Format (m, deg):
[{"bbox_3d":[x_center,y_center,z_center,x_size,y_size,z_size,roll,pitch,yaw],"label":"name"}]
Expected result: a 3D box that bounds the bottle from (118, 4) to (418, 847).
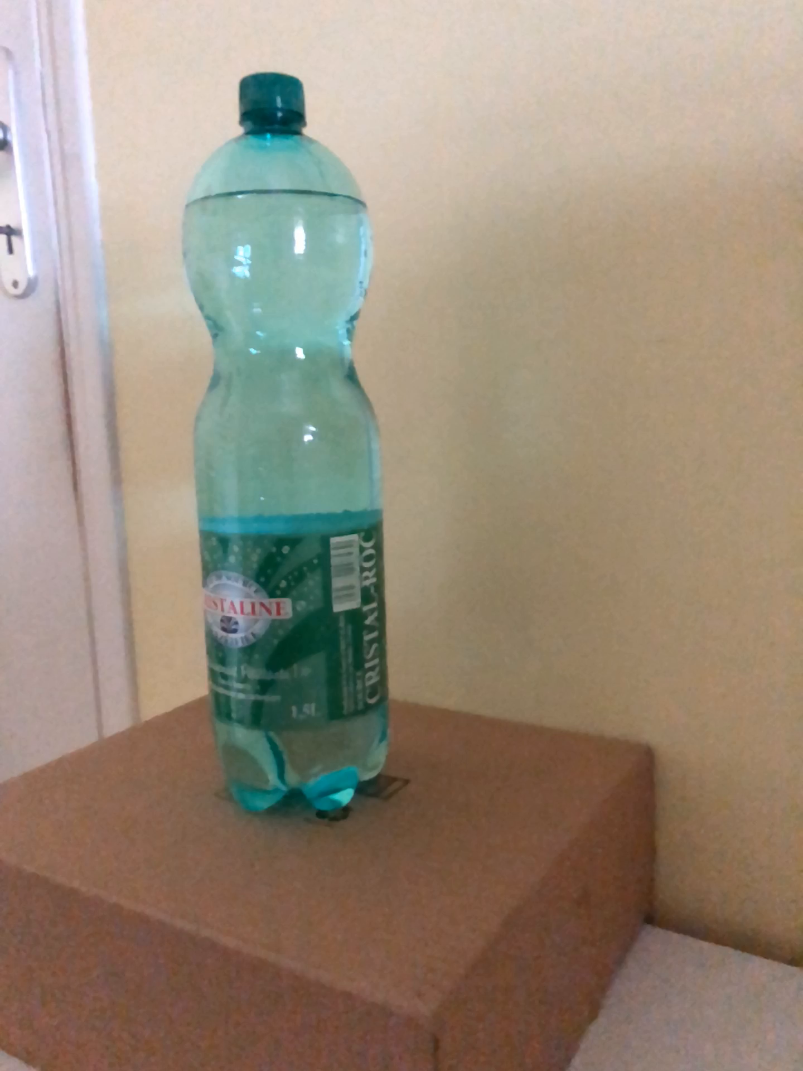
[{"bbox_3d":[-0.059,-0.042,0.415,0.090,0.339,0.080,4,10,38],"label":"bottle"}]
